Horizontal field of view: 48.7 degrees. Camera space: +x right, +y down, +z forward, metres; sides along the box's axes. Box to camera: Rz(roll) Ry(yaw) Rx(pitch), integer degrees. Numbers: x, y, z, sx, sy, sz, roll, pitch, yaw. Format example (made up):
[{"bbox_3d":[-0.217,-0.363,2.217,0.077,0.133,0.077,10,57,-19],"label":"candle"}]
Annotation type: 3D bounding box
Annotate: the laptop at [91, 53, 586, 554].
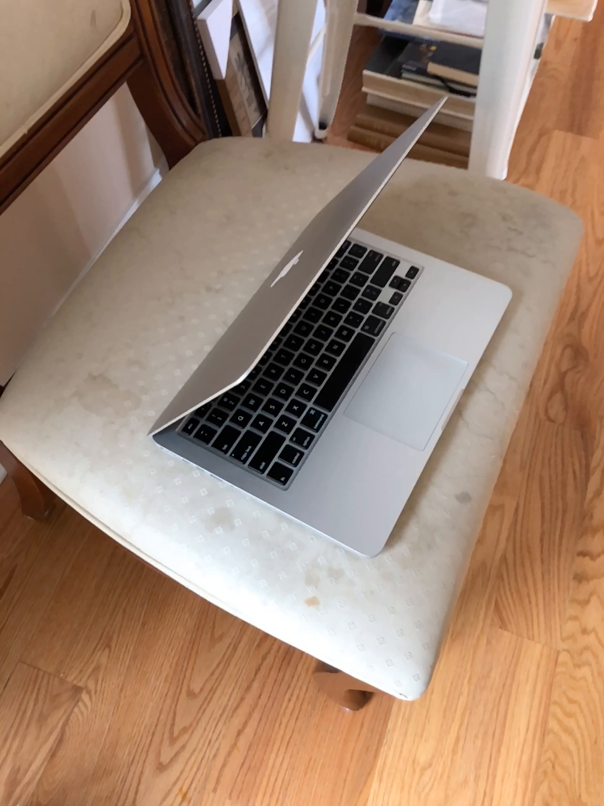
[{"bbox_3d":[0.038,-0.087,0.536,0.218,0.183,0.310,25,62,15],"label":"laptop"}]
